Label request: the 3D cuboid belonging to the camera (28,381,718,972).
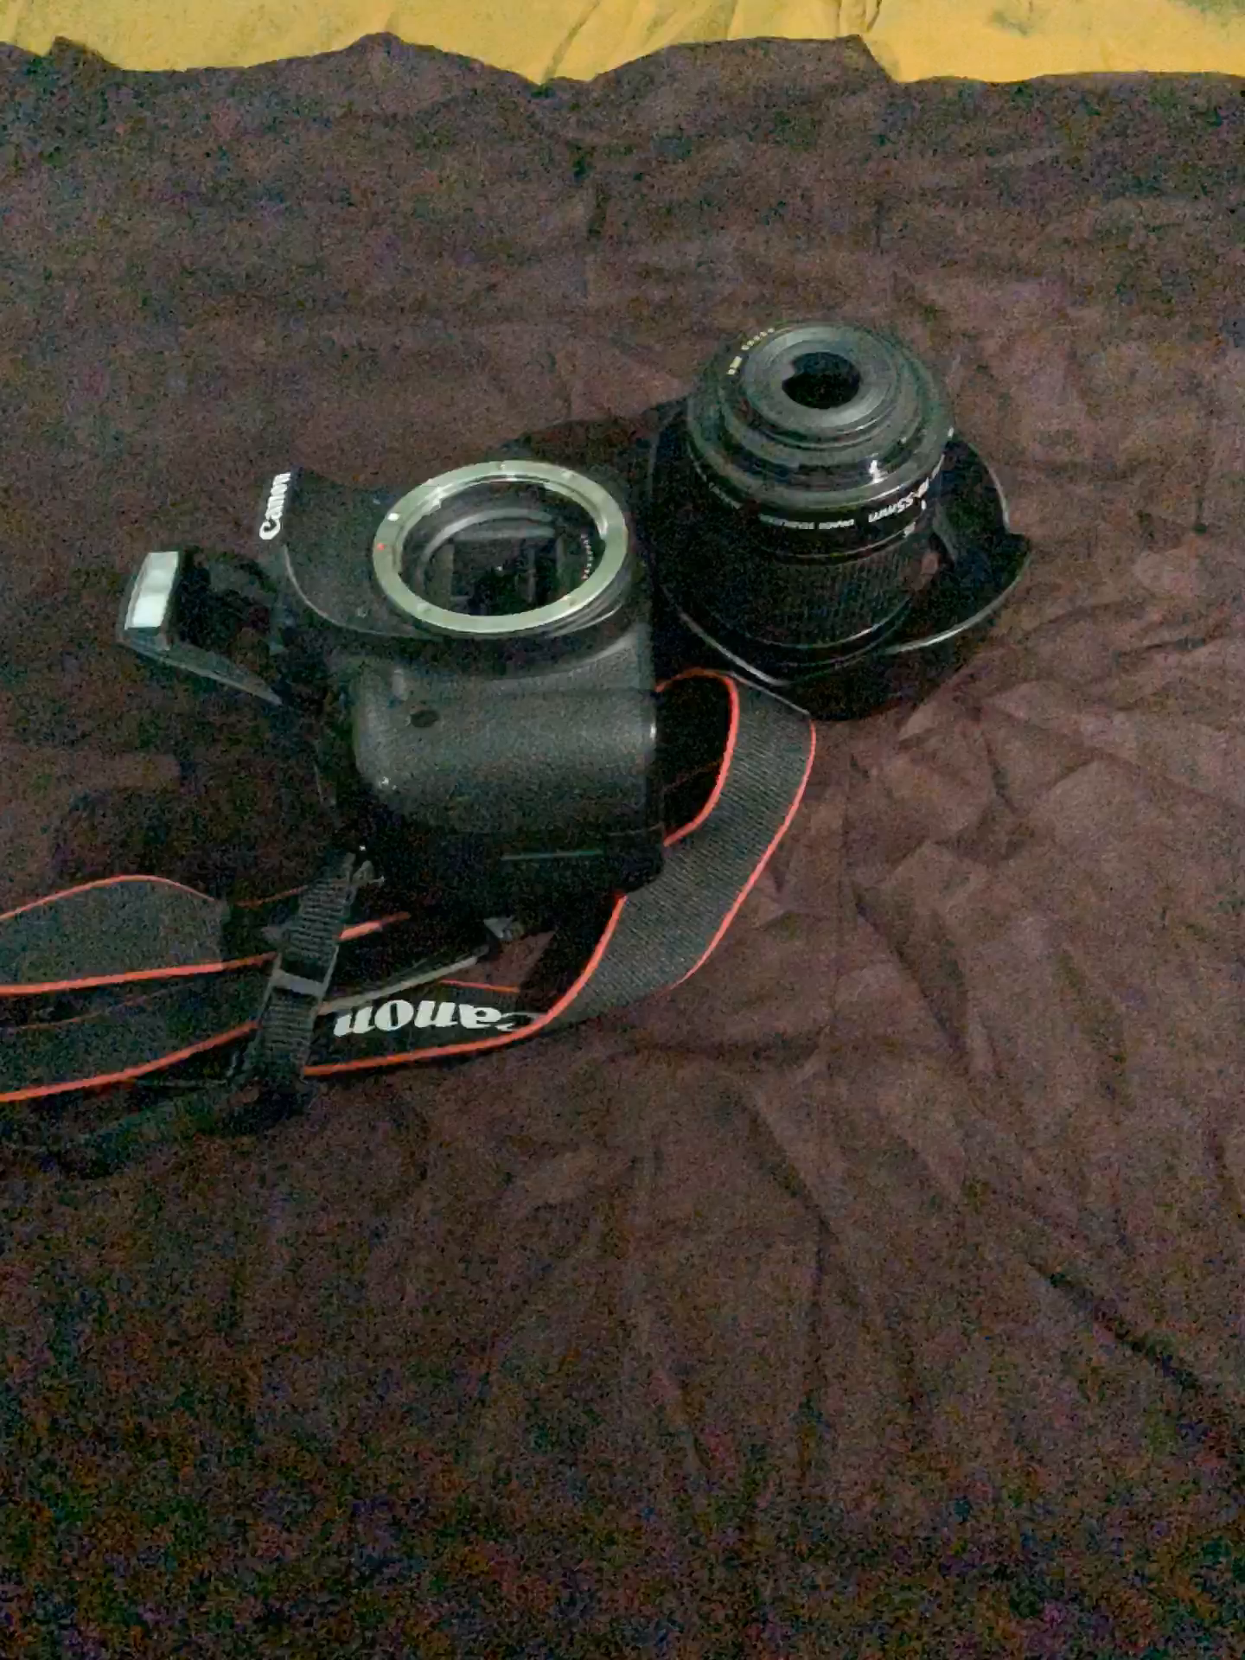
[{"bbox_3d":[-0.057,-0.047,0.359,0.150,0.082,0.147,-2,49,-2],"label":"camera"}]
